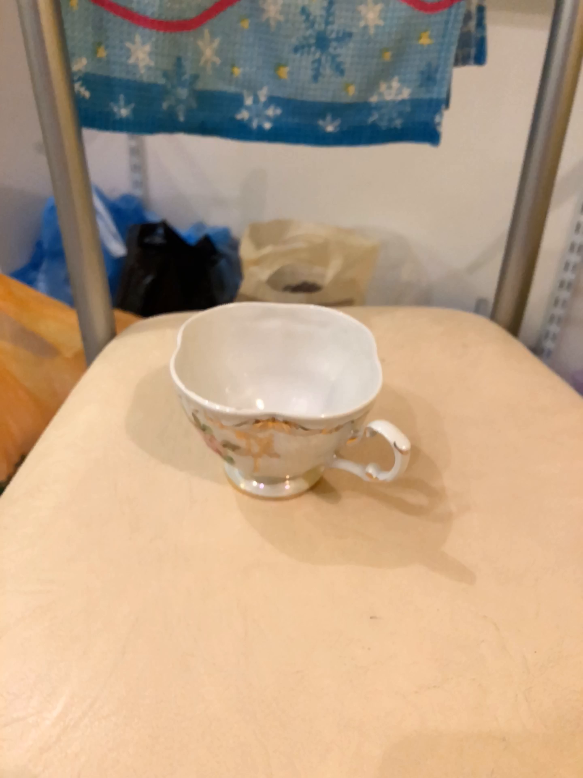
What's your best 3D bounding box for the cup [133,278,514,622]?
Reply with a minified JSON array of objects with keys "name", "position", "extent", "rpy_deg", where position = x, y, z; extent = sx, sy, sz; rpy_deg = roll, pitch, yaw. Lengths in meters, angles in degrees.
[{"name":"cup","position":[0.008,0.015,0.304],"extent":[0.100,0.064,0.140],"rpy_deg":[-24,42,-33]}]
